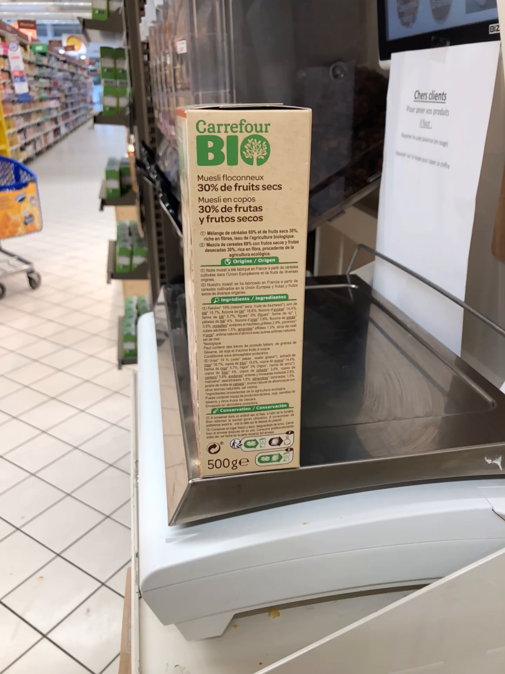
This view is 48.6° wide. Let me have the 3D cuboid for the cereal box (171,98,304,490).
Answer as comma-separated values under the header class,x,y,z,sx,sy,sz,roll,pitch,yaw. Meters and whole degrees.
class,x,y,z,sx,sy,sz,roll,pitch,yaw
cereal box,-0.013,-0.035,0.352,0.060,0.209,0.131,-4,22,-7
